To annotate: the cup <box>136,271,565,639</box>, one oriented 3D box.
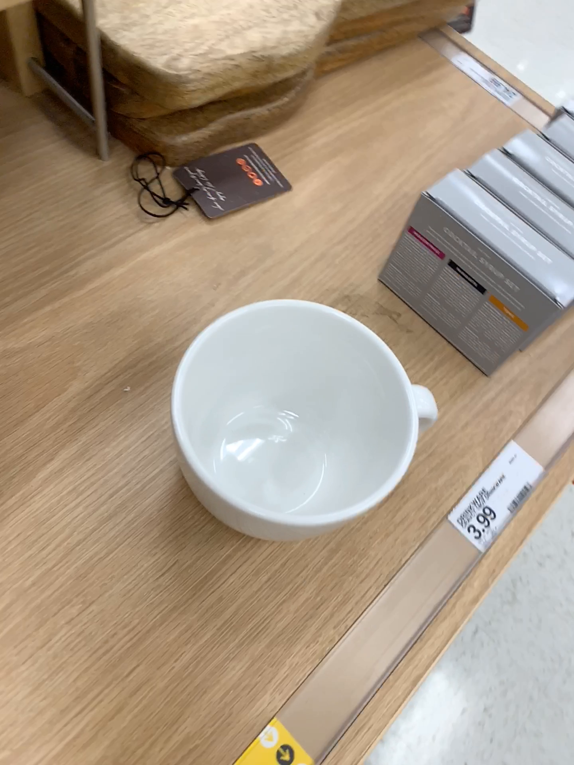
[{"bbox_3d":[0.018,0.030,0.263,0.140,0.080,0.110,-14,68,-18],"label":"cup"}]
